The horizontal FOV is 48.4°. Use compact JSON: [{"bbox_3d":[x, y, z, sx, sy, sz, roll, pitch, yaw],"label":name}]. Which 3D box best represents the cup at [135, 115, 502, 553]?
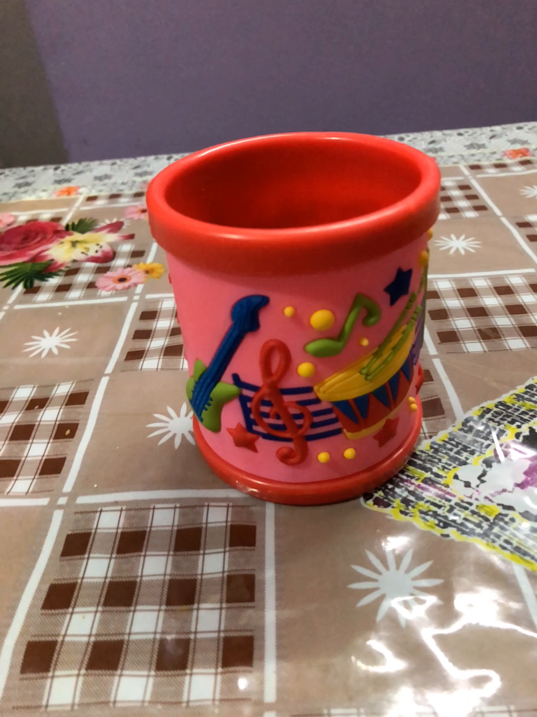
[{"bbox_3d":[0.009,-0.010,0.189,0.080,0.099,0.080,-4,35,3],"label":"cup"}]
